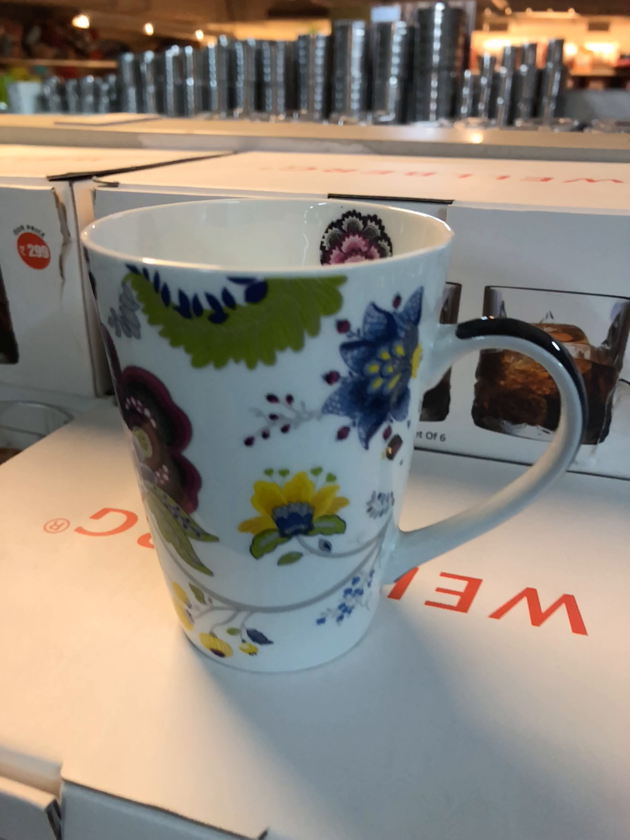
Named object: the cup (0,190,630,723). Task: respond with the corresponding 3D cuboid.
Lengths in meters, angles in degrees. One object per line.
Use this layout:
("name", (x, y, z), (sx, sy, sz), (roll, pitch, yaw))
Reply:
("cup", (0.006, 0.001, 0.179), (0.120, 0.099, 0.080), (4, 25, 6))
